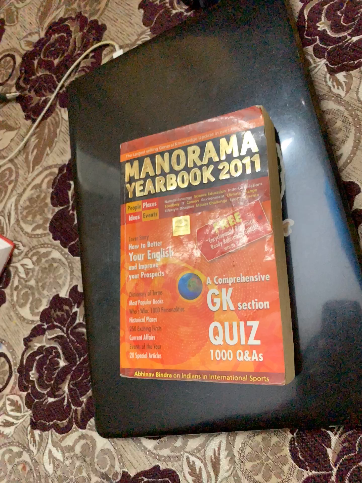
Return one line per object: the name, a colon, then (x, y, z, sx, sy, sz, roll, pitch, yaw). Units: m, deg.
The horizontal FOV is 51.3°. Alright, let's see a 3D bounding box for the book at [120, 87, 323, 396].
book: (0.026, 0.003, 0.300, 0.140, 0.050, 0.210, -7, 76, 23)
